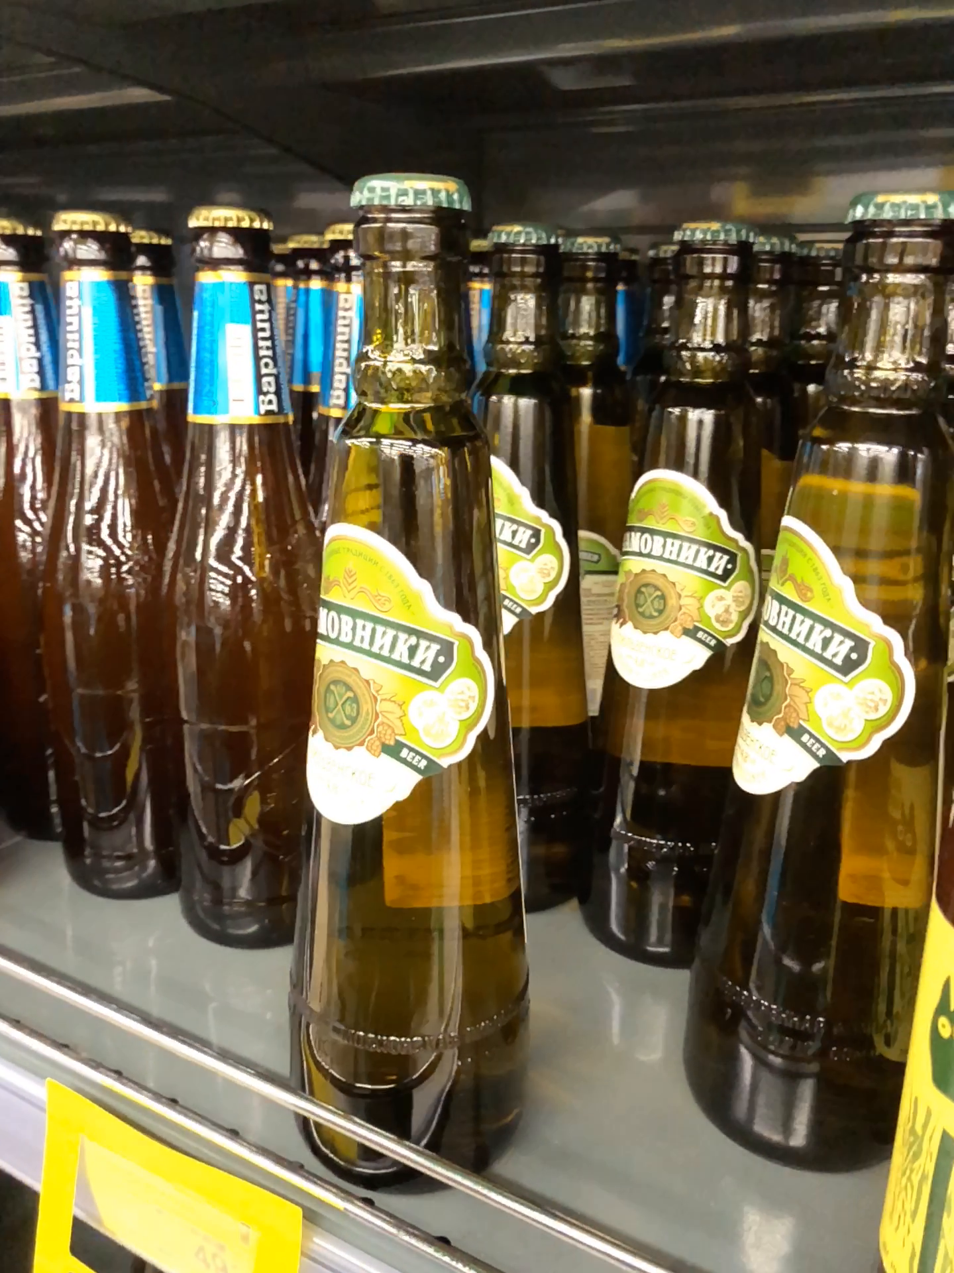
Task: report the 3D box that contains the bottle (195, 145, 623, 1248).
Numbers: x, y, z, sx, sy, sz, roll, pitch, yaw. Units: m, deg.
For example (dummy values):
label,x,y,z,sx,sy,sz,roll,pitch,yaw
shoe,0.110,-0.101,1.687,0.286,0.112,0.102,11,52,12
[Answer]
label,x,y,z,sx,sy,sz,roll,pitch,yaw
bottle,-0.017,0.018,0.282,0.070,0.261,0.070,1,17,0
